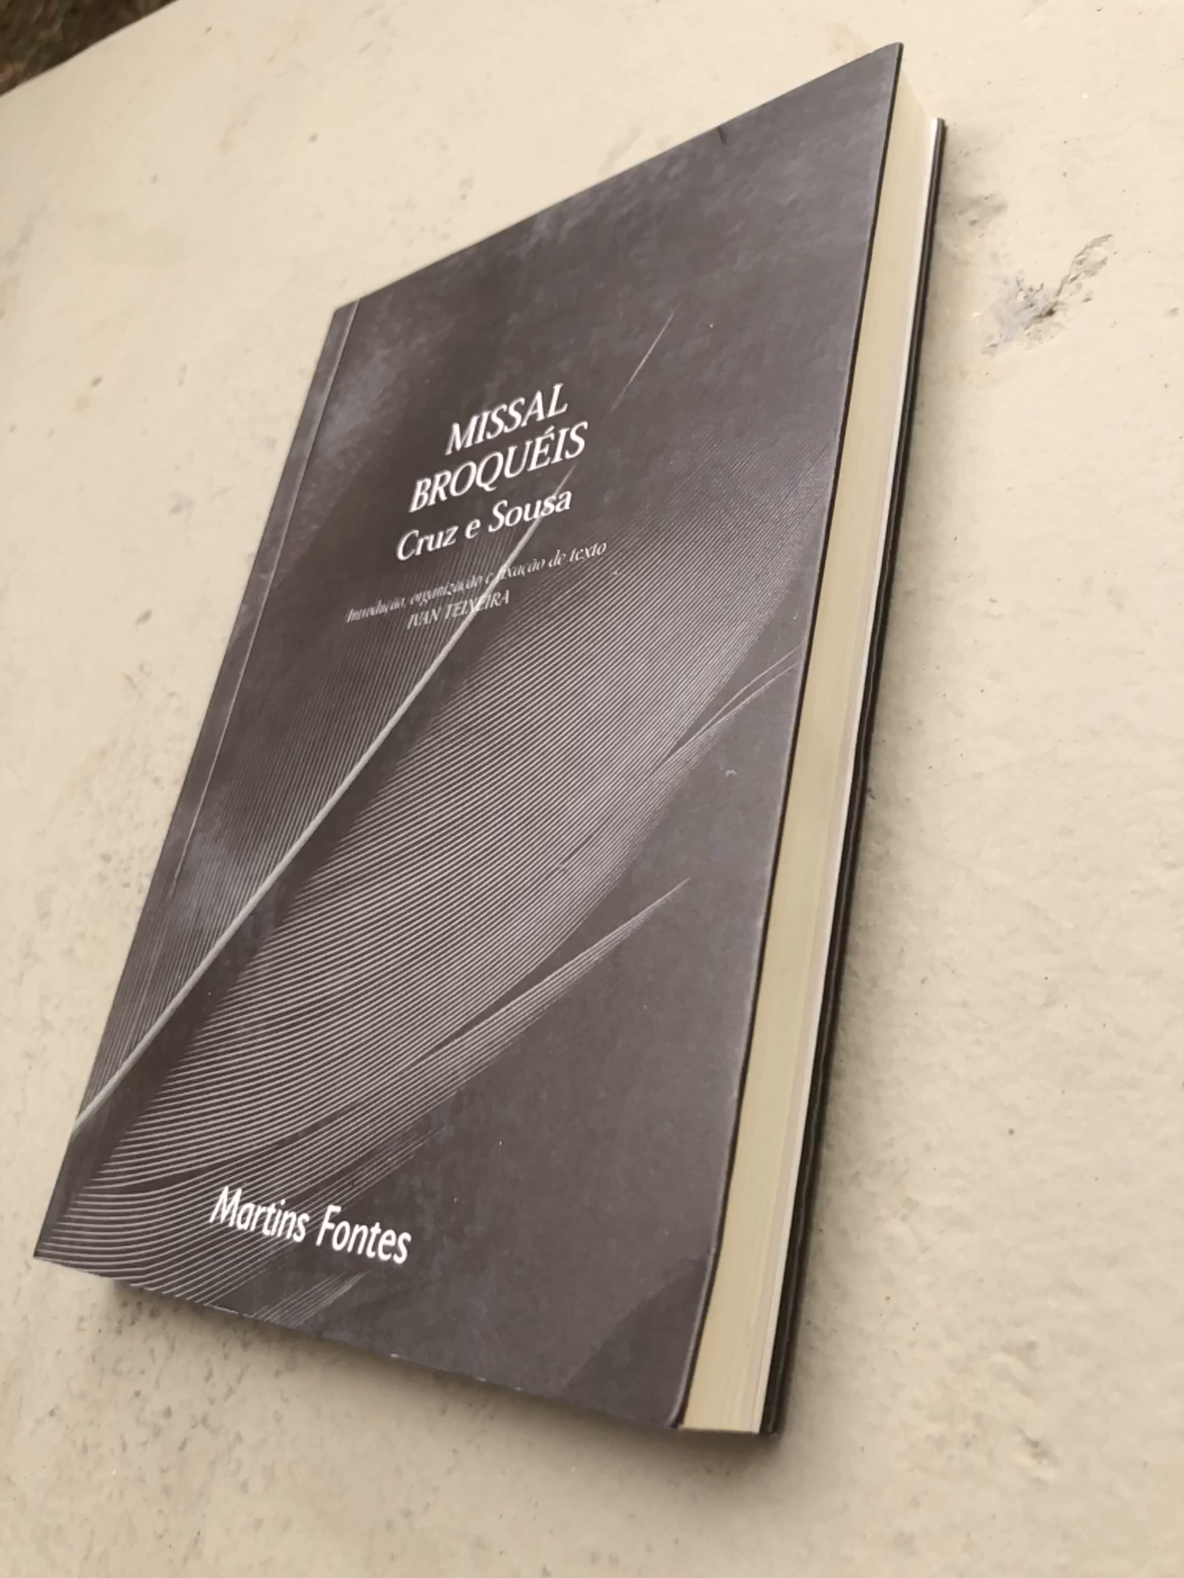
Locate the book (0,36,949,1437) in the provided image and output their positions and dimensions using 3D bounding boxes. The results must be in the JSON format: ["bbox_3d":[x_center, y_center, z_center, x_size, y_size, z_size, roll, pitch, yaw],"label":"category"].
[{"bbox_3d":[-0.019,-0.014,0.195,0.128,0.016,0.174,-6,63,39],"label":"book"}]
